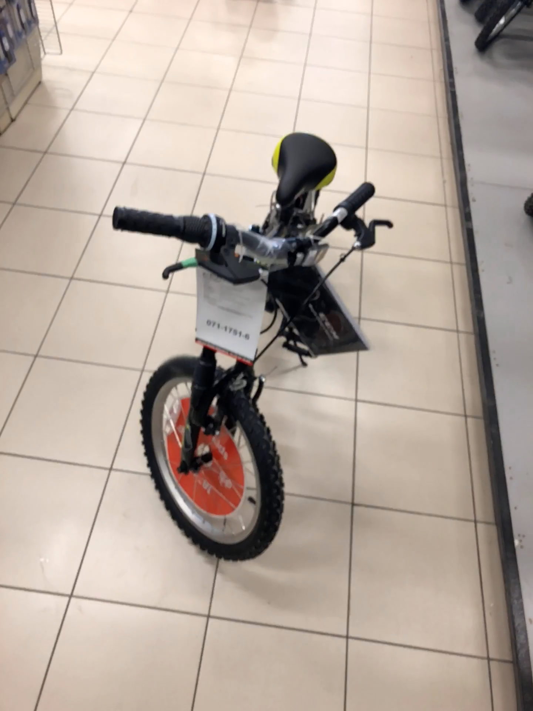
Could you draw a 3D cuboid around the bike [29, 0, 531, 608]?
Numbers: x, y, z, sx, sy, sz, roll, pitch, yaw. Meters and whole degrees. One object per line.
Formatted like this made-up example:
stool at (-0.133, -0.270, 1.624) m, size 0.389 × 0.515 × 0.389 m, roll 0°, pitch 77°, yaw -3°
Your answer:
bike at (0.065, -0.213, 1.345) m, size 0.549 × 0.861 × 1.200 m, roll 9°, pitch 52°, yaw 2°
